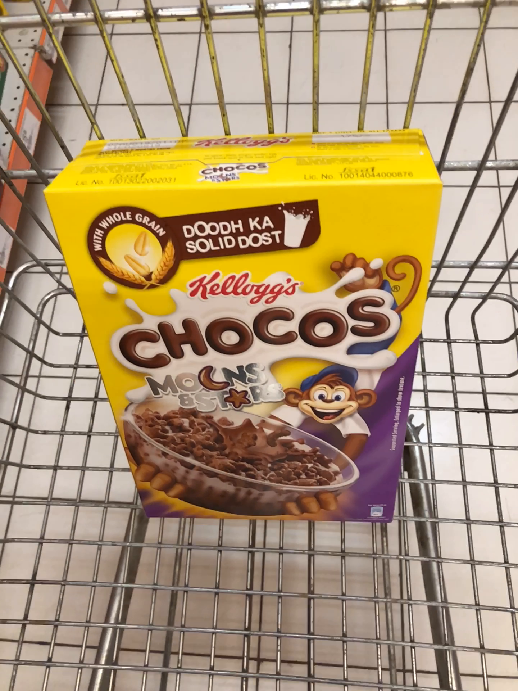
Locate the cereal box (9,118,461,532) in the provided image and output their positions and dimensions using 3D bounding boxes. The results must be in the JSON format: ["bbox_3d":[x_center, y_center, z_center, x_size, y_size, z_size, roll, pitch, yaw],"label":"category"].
[{"bbox_3d":[-0.004,0.007,0.343,0.190,0.249,0.070,-1,38,4],"label":"cereal box"}]
